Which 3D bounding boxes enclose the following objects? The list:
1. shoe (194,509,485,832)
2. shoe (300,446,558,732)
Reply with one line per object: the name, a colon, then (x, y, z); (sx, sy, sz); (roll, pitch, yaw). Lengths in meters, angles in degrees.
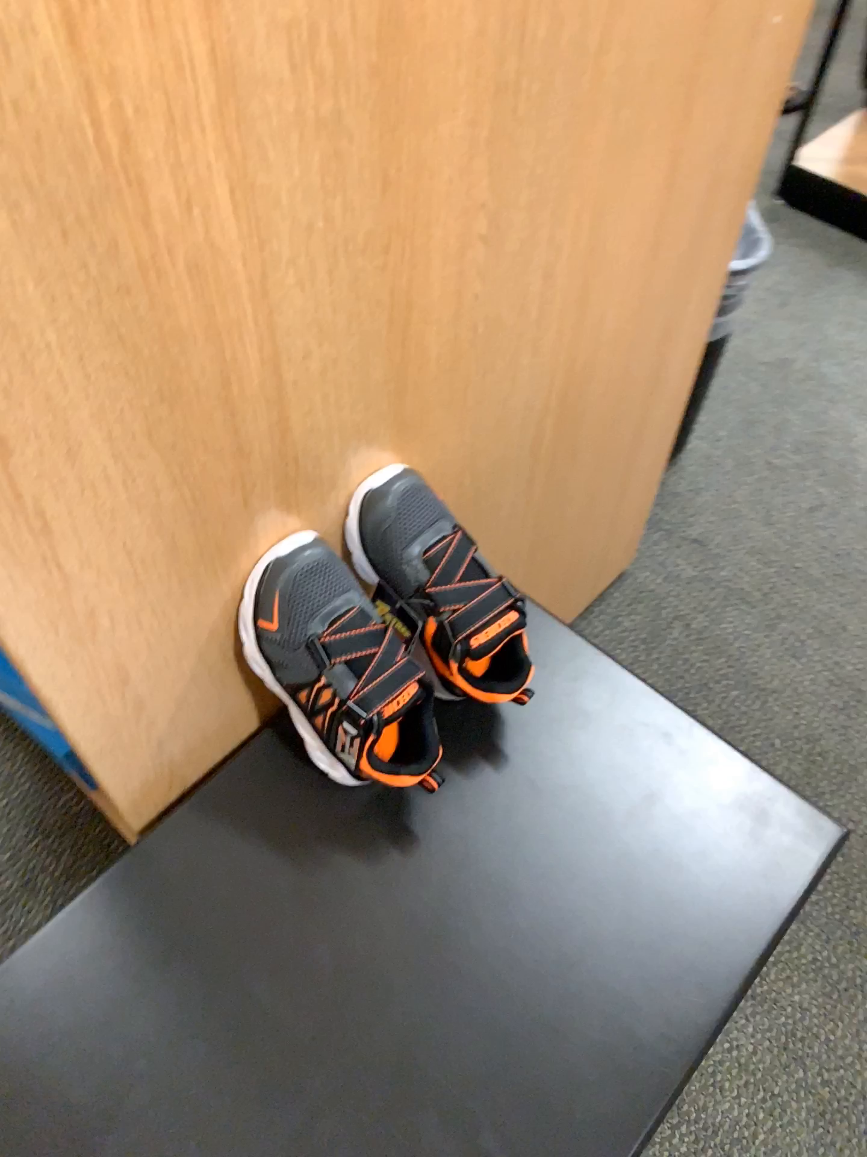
shoe: (-0.060, 0.058, 0.597); (0.090, 0.179, 0.100); (-38, 29, -25)
shoe: (-0.001, 0.005, 0.661); (0.090, 0.179, 0.100); (-38, 29, -25)
